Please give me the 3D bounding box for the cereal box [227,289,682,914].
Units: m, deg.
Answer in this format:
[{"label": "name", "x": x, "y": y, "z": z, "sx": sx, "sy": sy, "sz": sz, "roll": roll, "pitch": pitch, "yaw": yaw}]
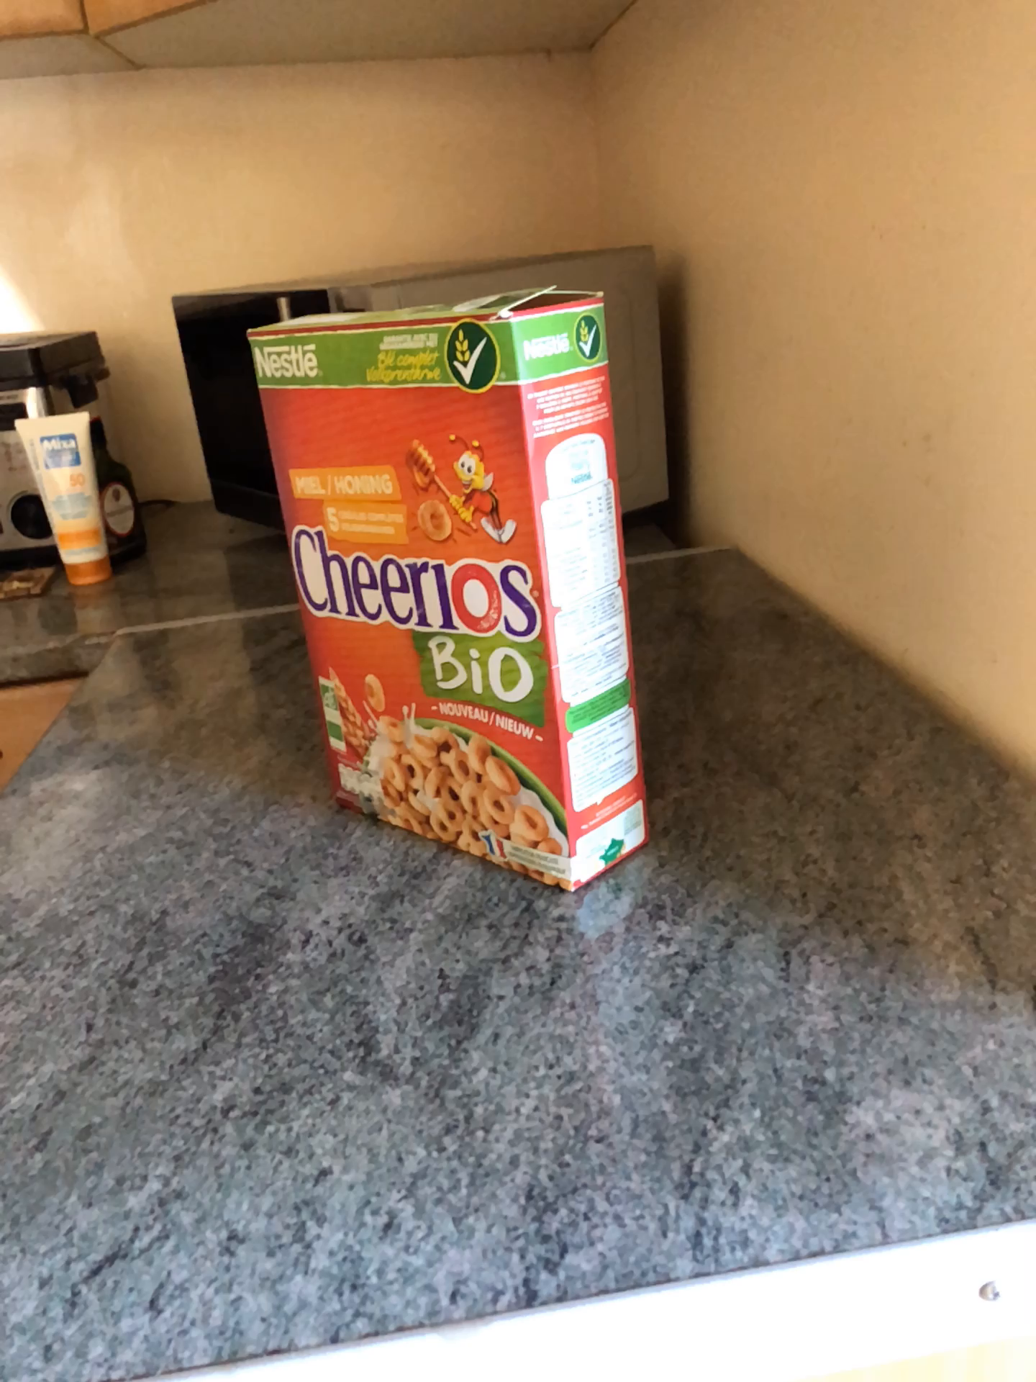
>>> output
[{"label": "cereal box", "x": -0.031, "y": -0.051, "z": 0.561, "sx": 0.200, "sy": 0.259, "sz": 0.080, "roll": 13, "pitch": 26, "yaw": 43}]
